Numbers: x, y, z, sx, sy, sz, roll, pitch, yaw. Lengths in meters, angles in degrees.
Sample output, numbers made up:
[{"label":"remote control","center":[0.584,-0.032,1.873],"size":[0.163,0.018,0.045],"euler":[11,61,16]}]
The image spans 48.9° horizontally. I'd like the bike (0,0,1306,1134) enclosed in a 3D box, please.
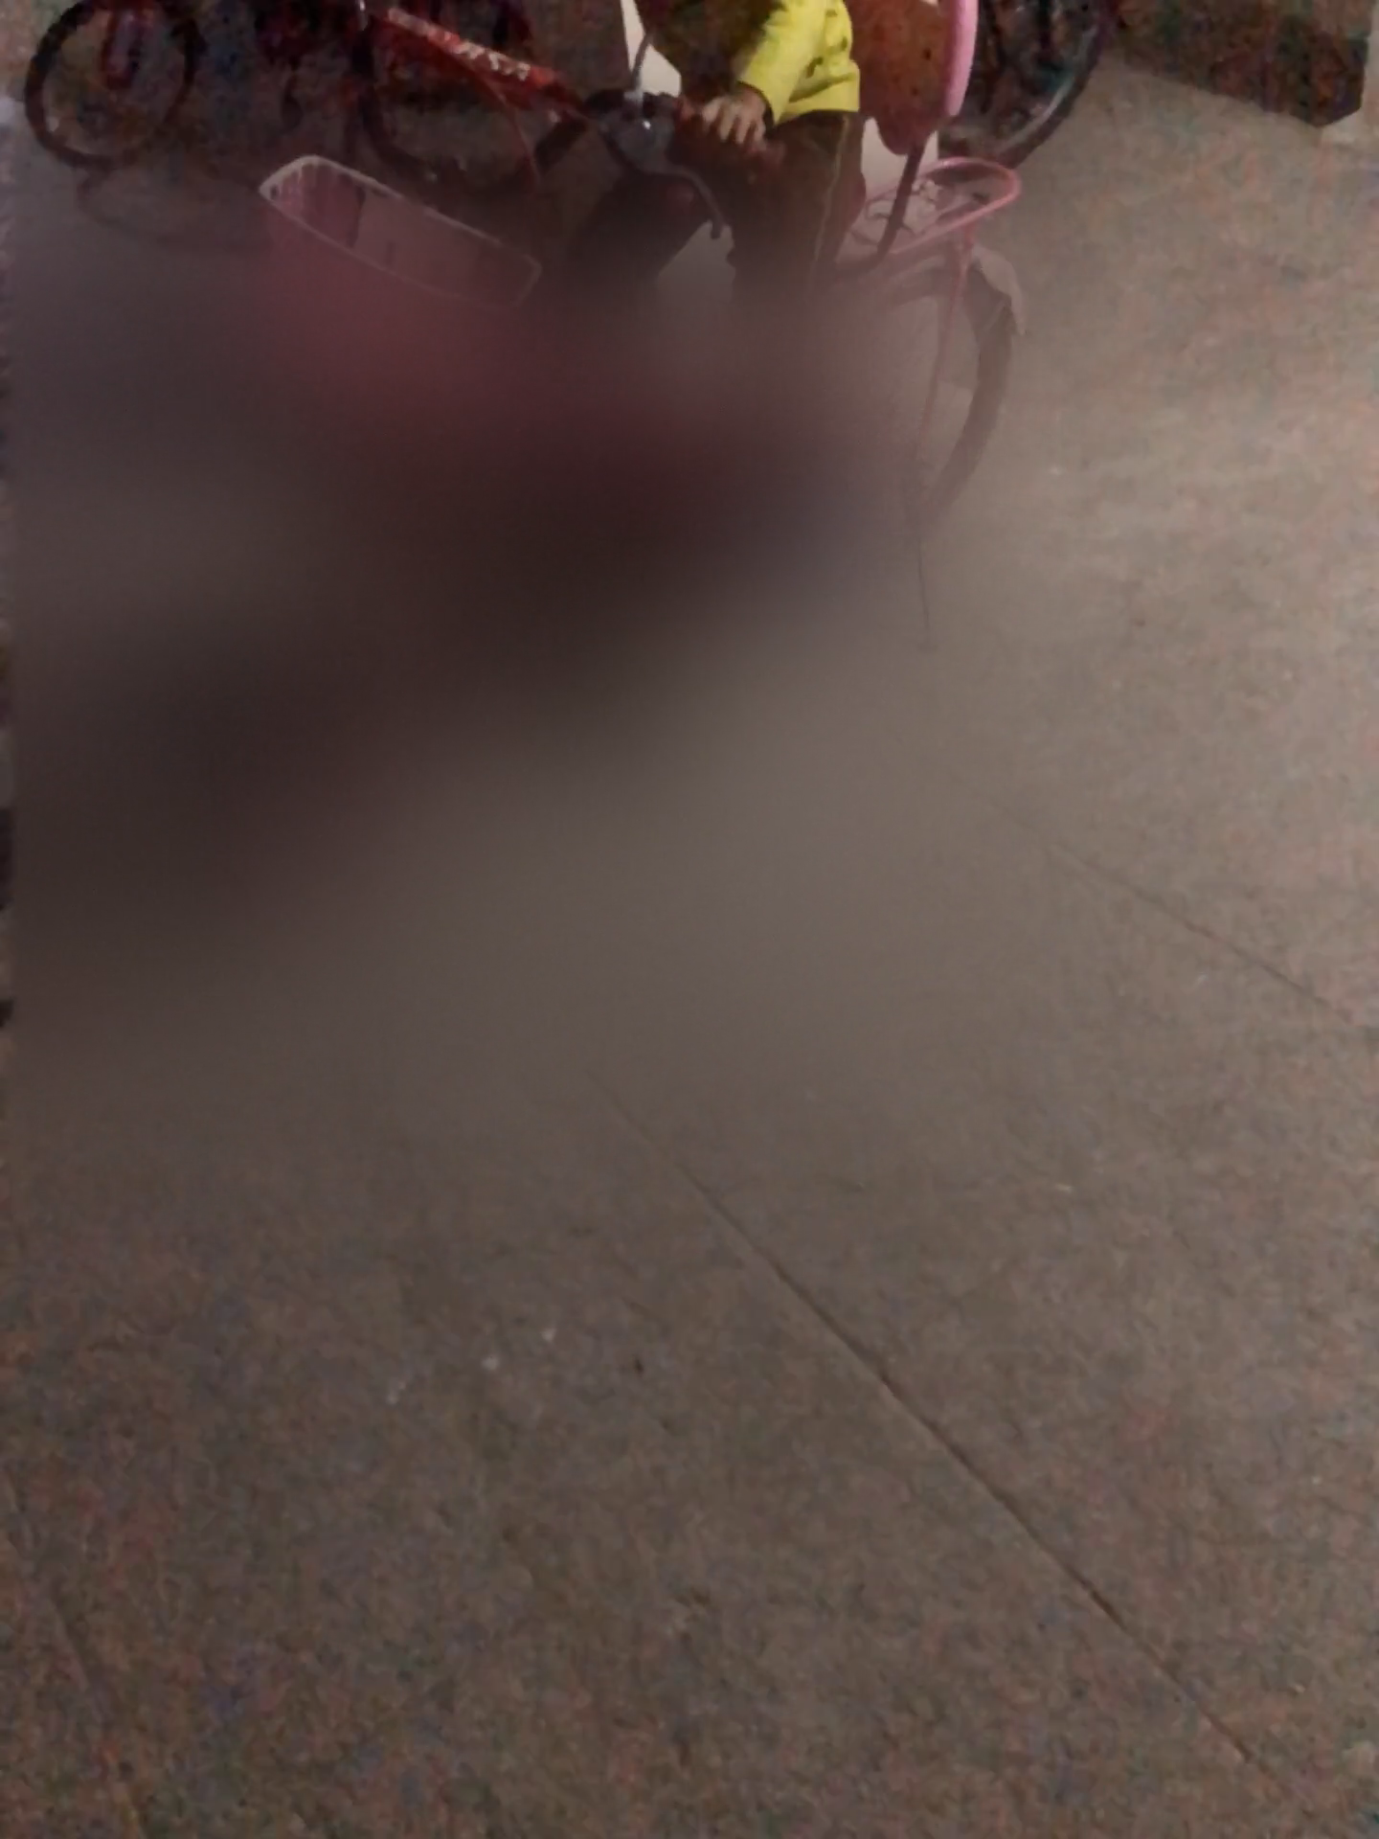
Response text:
[{"label":"bike","center":[0.071,-0.567,1.626],"size":[1.283,0.910,0.494],"euler":[-34,46,-30]}]
